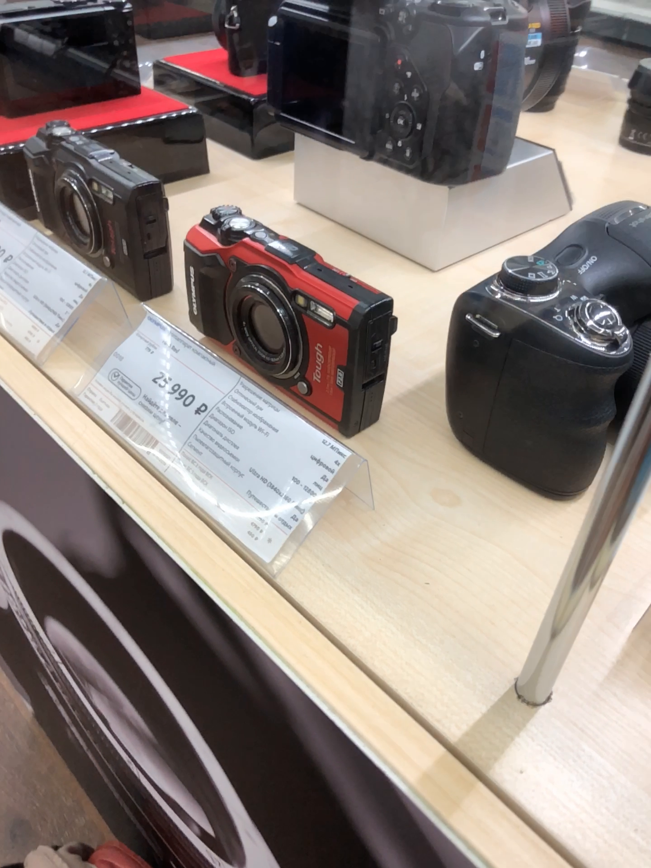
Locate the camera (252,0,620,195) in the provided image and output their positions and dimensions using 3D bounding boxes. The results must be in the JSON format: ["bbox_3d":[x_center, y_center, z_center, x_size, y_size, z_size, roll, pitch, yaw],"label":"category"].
[{"bbox_3d":[0.055,-0.214,0.407,0.127,0.086,0.147,-28,49,-33],"label":"camera"}]

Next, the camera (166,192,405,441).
[{"bbox_3d":[-0.022,-0.056,0.322,0.030,0.061,0.119,-29,49,-33],"label":"camera"}]

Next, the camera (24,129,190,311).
[{"bbox_3d":[-0.126,-0.126,0.415,0.030,0.061,0.117,-29,49,-33],"label":"camera"}]

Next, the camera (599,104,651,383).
[{"bbox_3d":[0.254,-0.117,0.410,0.159,0.086,0.103,-30,50,-33],"label":"camera"}]

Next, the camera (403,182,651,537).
[{"bbox_3d":[0.111,-0.039,0.299,0.117,0.078,0.094,-29,49,-33],"label":"camera"}]
